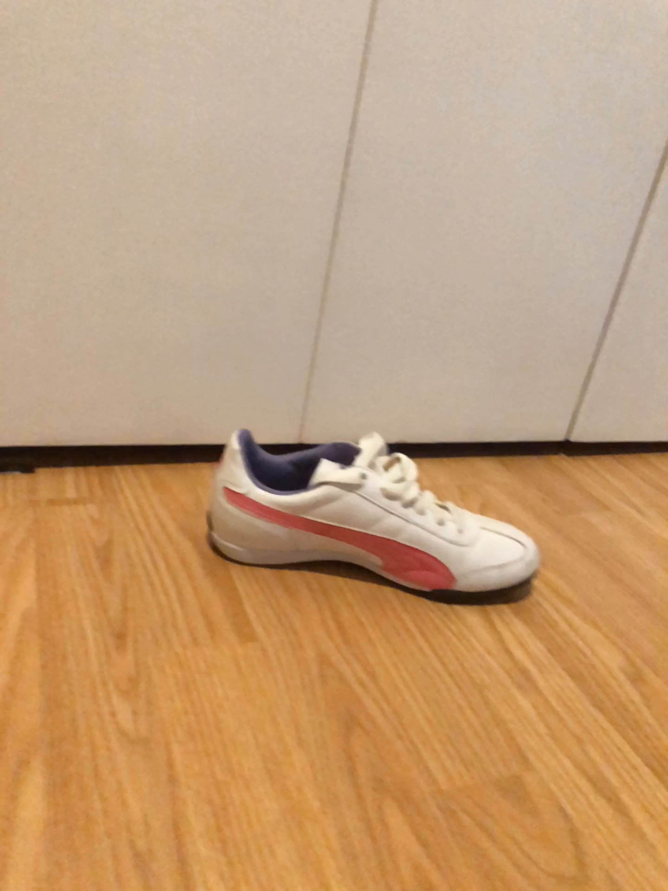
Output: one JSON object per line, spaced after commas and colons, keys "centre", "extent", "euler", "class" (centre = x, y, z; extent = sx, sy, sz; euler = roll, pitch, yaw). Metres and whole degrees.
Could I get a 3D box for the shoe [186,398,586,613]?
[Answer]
{"centre": [0.033, 0.041, 0.550], "extent": [0.260, 0.080, 0.100], "euler": [9, 25, -4], "class": "shoe"}
